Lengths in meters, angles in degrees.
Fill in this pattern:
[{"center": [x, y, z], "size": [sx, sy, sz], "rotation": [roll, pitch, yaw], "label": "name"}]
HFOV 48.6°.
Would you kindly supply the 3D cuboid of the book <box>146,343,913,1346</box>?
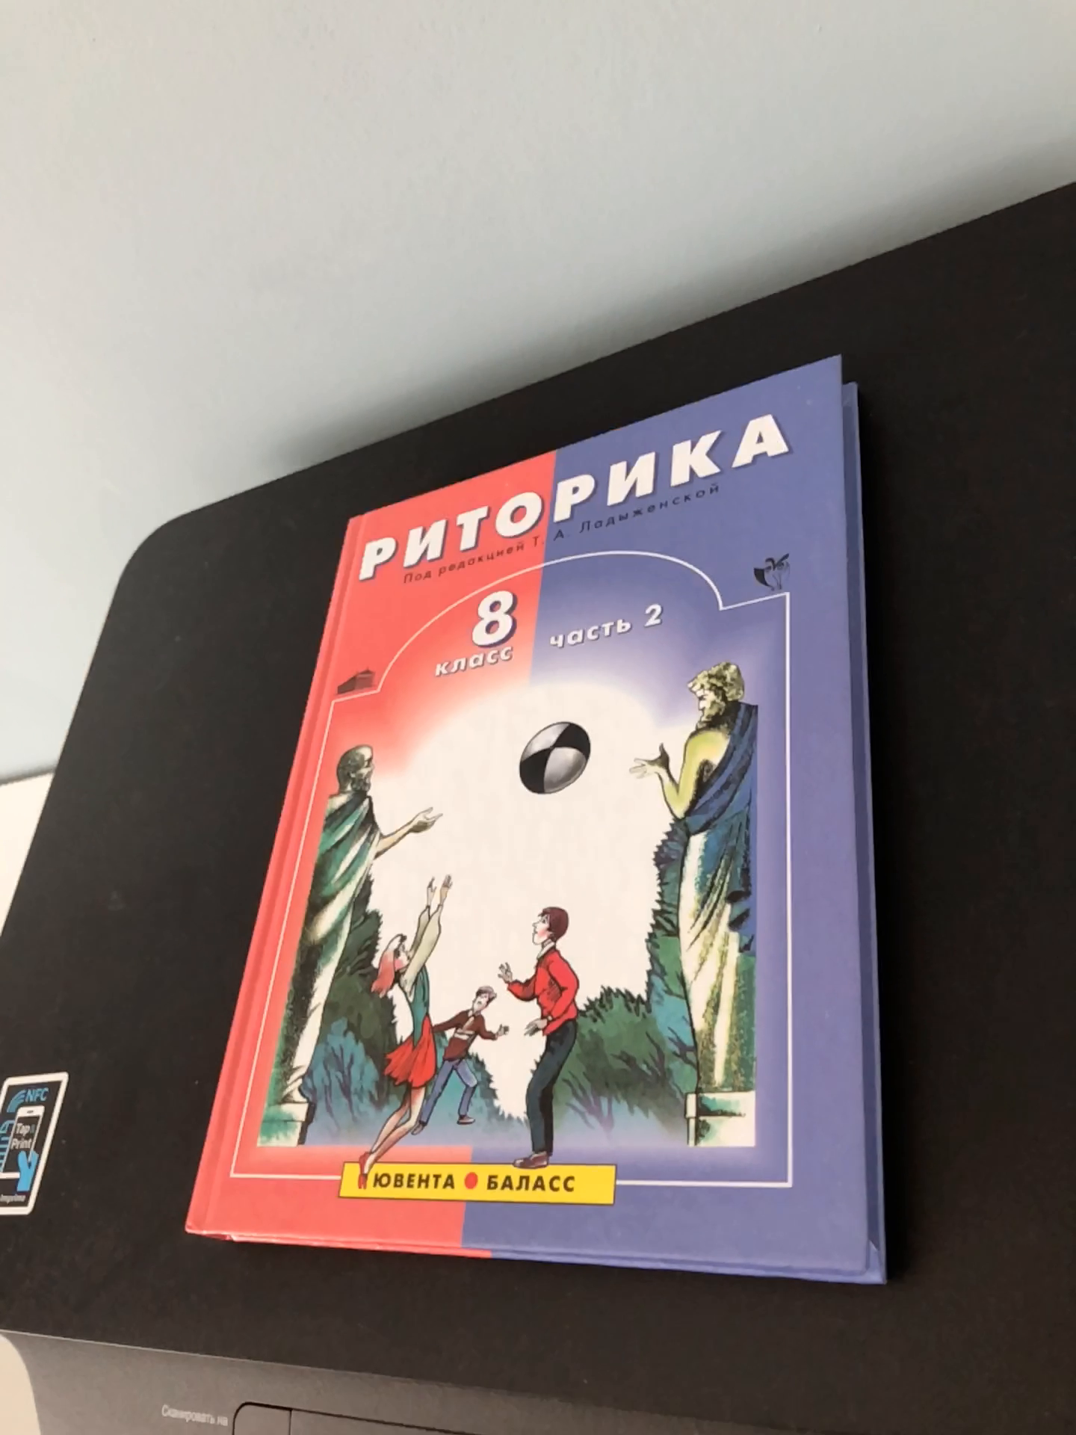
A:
[{"center": [-0.002, 0.022, 0.293], "size": [0.170, 0.020, 0.221], "rotation": [-12, 56, 30], "label": "book"}]
